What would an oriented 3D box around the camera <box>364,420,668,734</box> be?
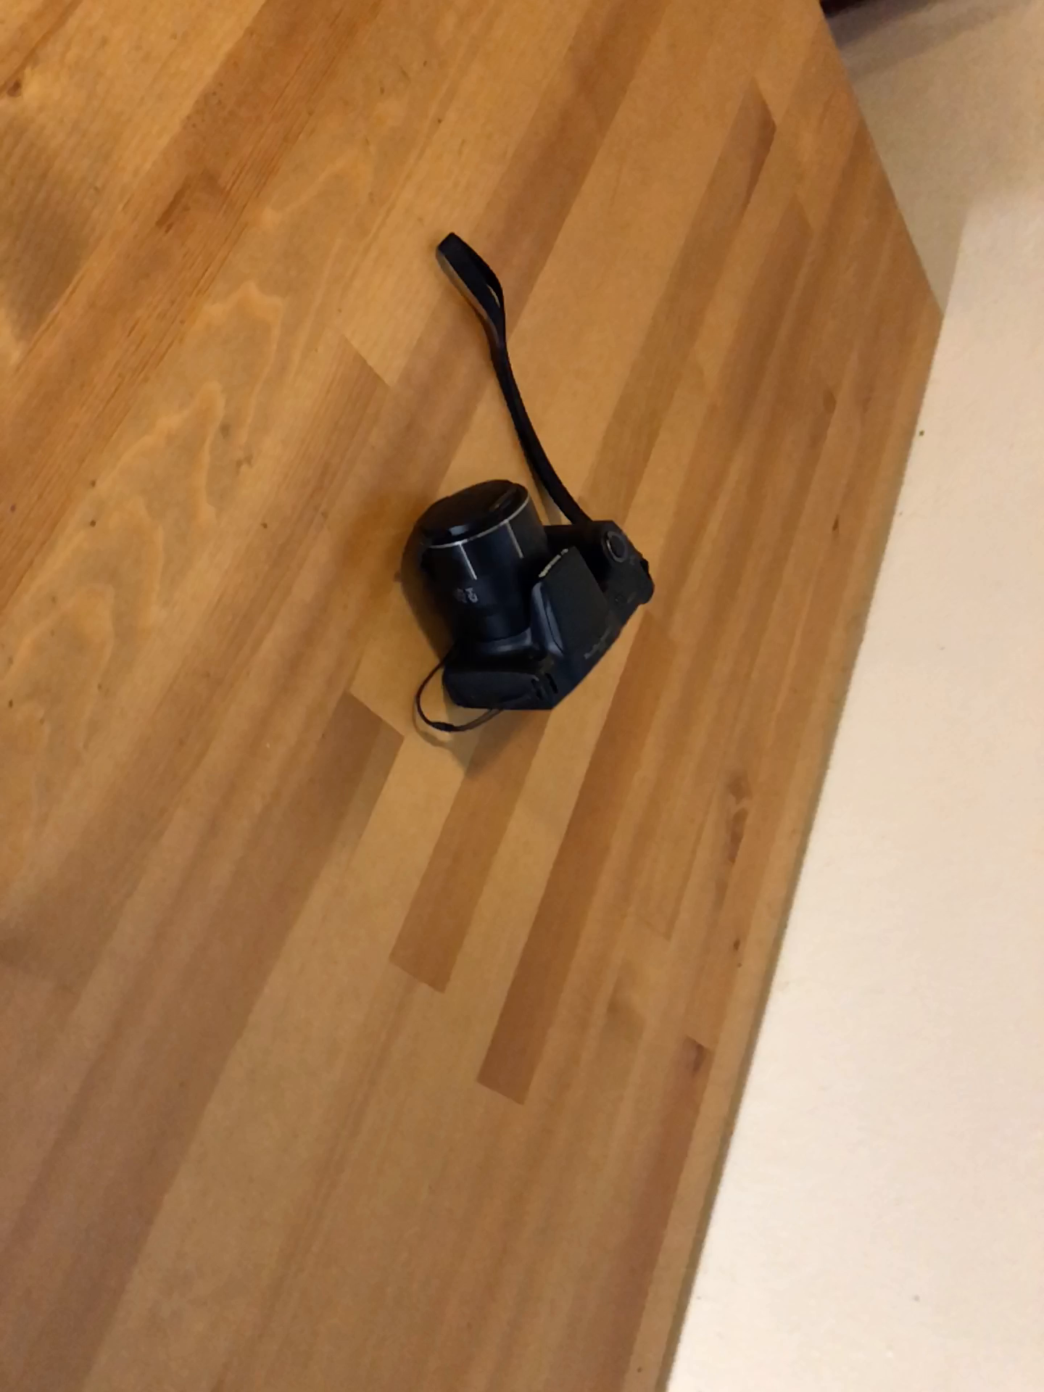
[{"bbox_3d":[0.002,-0.055,0.537,0.109,0.062,0.096,-51,127,-37],"label":"camera"}]
